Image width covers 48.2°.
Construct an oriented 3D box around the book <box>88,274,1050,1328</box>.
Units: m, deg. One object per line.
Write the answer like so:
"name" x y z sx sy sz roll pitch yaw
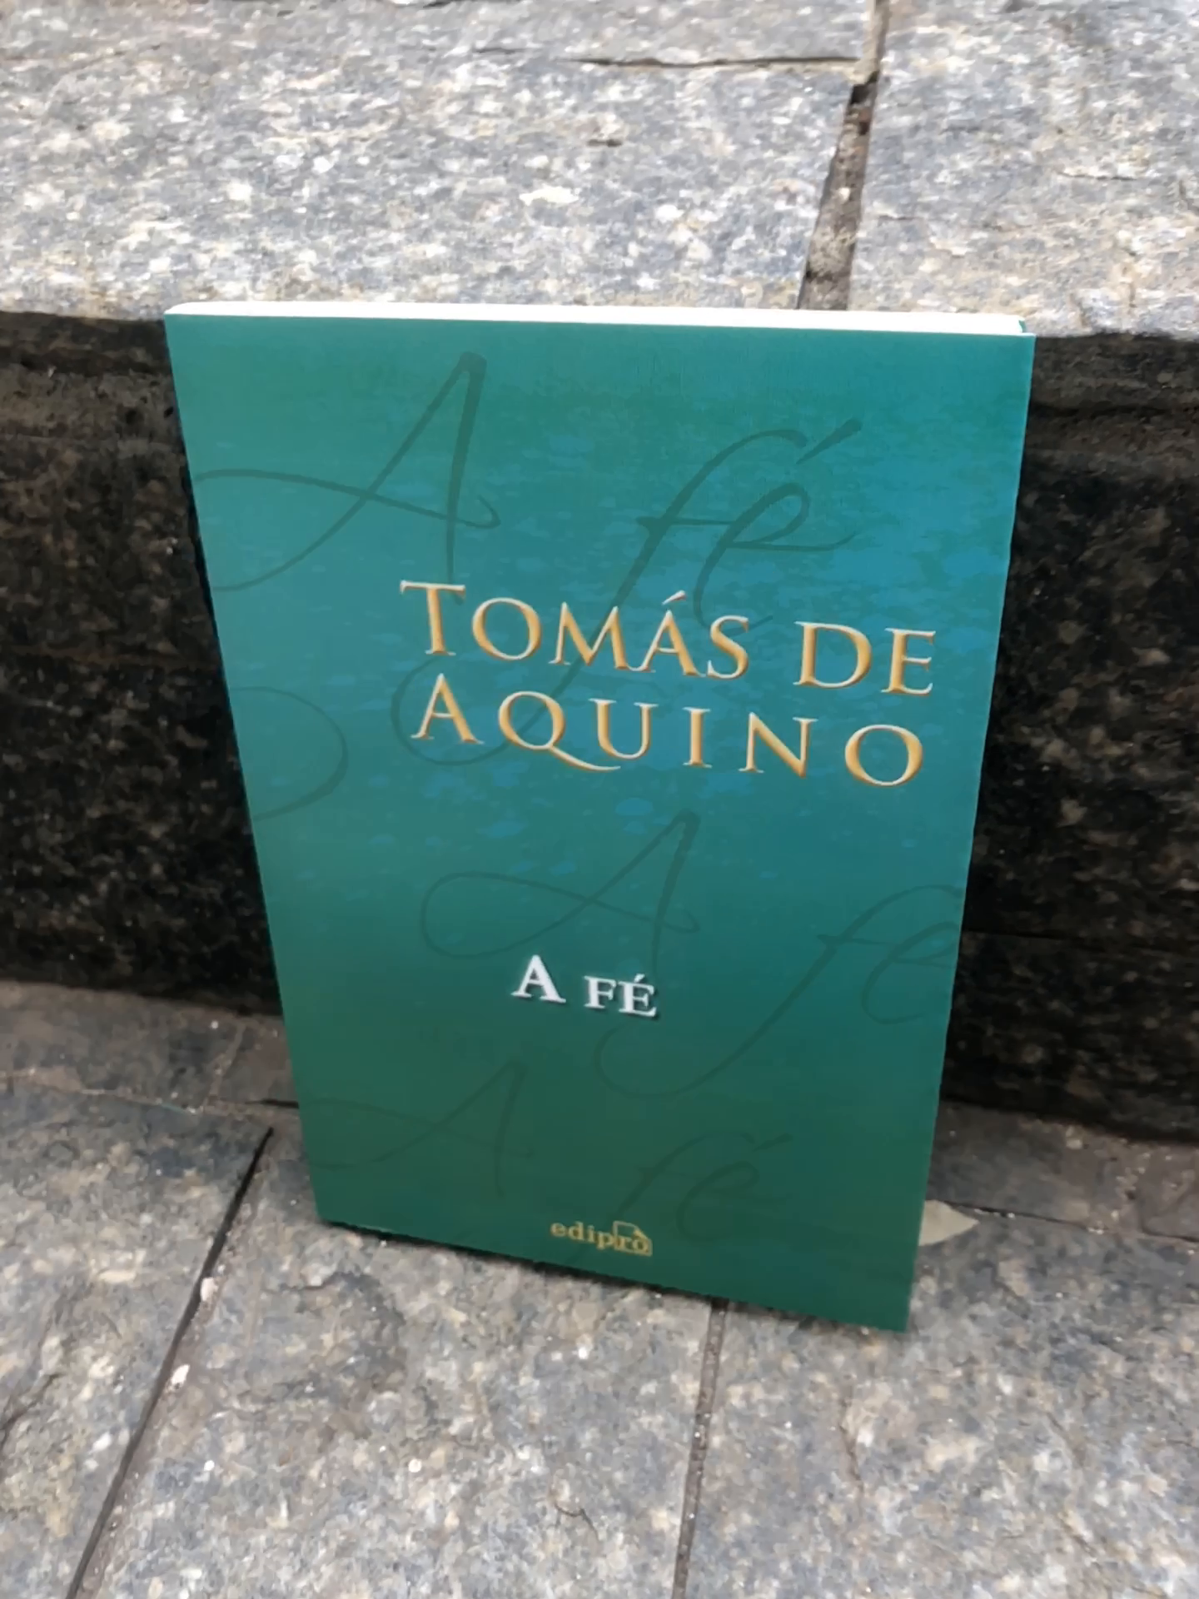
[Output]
"book" -0.006 0.011 0.251 0.142 0.199 0.020 7 31 12
